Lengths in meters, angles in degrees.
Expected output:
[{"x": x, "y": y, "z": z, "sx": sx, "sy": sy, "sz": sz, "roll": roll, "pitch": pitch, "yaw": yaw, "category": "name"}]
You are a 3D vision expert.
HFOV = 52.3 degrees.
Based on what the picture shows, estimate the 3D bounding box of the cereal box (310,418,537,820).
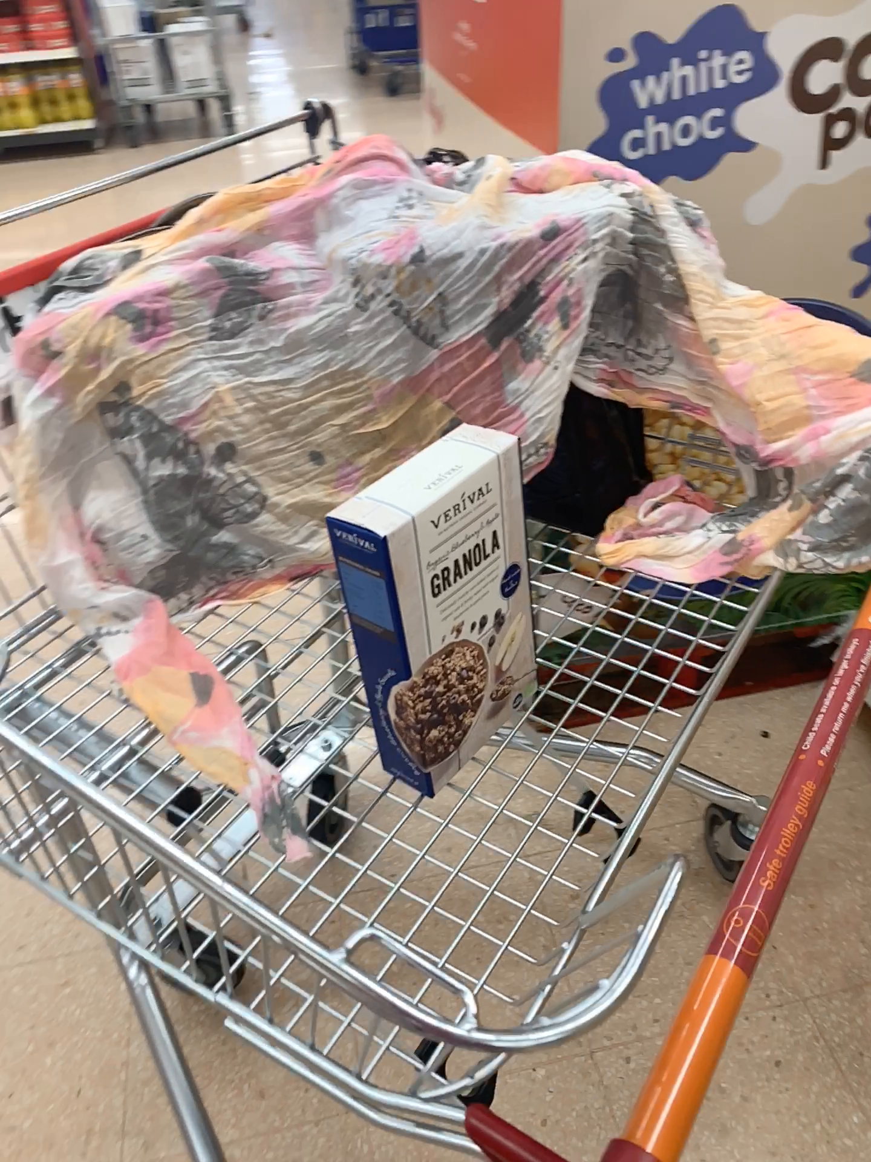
[{"x": 0.004, "y": 0.028, "z": 0.598, "sx": 0.050, "sy": 0.228, "sz": 0.141, "roll": 21, "pitch": 44, "yaw": 34, "category": "cereal box"}]
